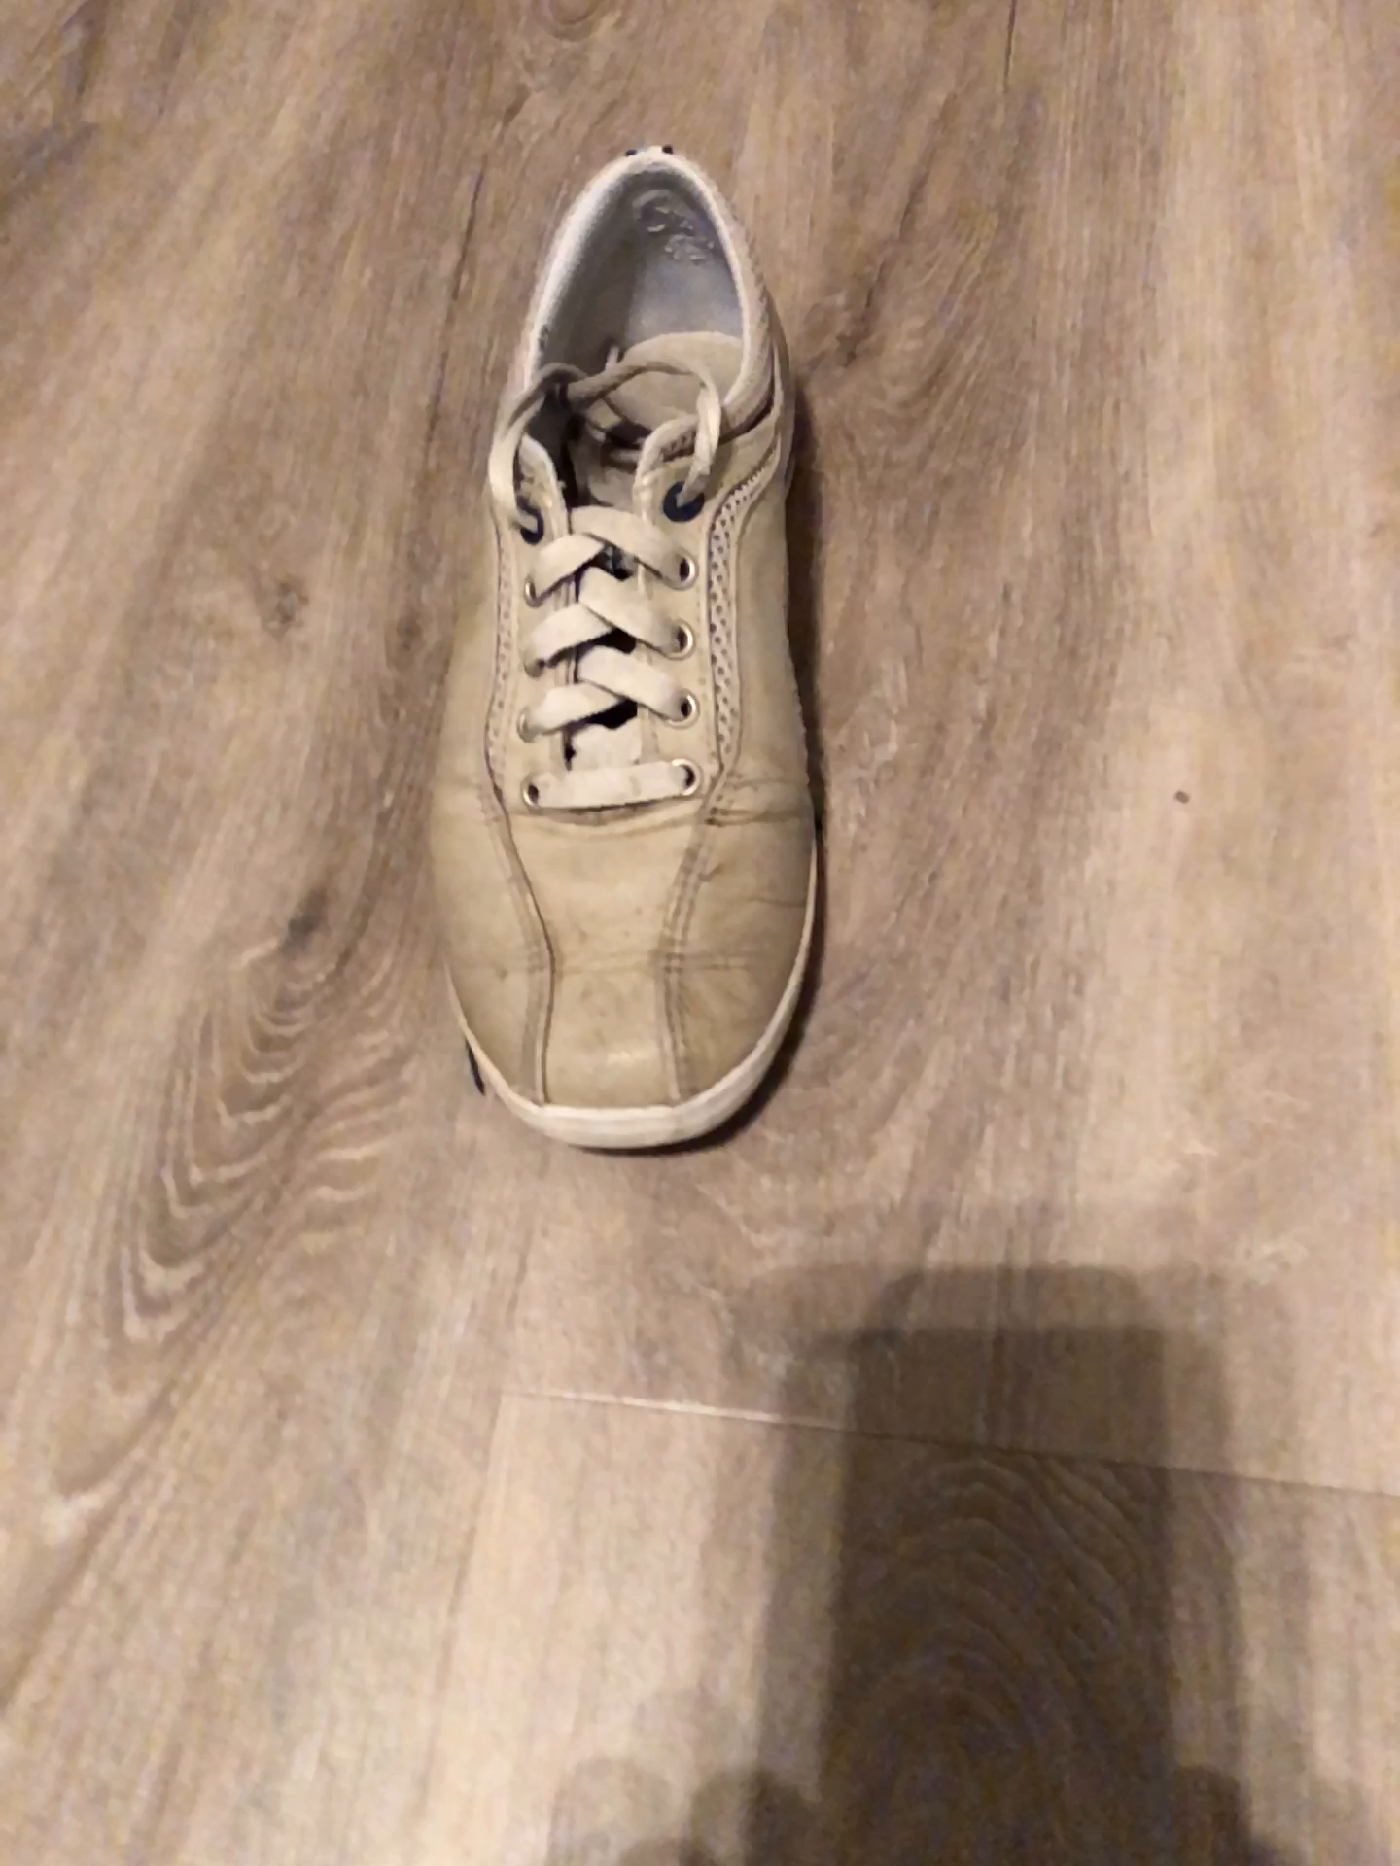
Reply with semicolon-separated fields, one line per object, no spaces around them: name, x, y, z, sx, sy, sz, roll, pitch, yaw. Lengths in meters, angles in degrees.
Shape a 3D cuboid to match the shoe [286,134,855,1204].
shoe;-0.015;-0.070;0.361;0.090;0.070;0.251;0;61;9
